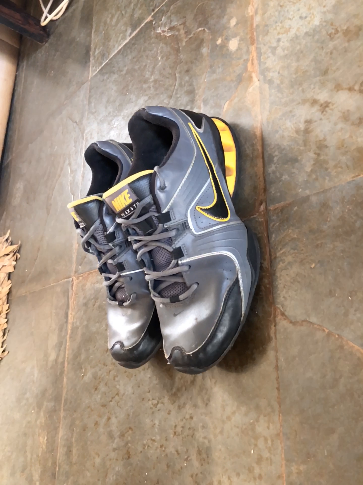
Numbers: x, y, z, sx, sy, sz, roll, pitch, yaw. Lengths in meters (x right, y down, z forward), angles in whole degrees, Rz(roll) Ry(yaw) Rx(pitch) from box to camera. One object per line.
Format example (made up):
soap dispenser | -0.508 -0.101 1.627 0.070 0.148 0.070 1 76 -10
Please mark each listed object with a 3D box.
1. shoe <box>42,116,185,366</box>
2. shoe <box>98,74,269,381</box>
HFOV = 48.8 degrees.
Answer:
shoe | -0.069 0.007 0.437 0.100 0.100 0.240 -17 66 46
shoe | 0.003 -0.004 0.365 0.100 0.100 0.240 -17 66 46
